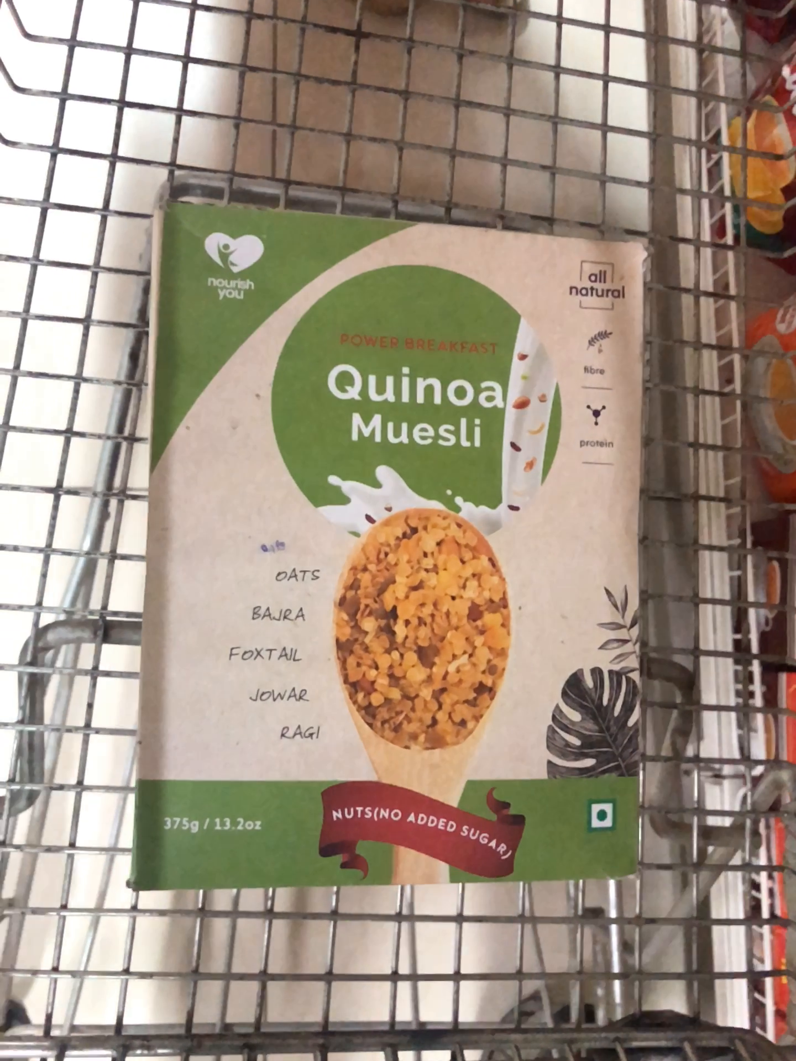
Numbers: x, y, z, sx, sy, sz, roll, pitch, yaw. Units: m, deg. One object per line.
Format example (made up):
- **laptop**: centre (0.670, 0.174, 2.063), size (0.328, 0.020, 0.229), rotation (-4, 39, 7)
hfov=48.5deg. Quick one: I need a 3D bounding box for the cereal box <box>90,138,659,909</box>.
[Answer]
- **cereal box**: centre (-0.006, 0.000, 0.285), size (0.160, 0.060, 0.210), rotation (2, 87, -11)
